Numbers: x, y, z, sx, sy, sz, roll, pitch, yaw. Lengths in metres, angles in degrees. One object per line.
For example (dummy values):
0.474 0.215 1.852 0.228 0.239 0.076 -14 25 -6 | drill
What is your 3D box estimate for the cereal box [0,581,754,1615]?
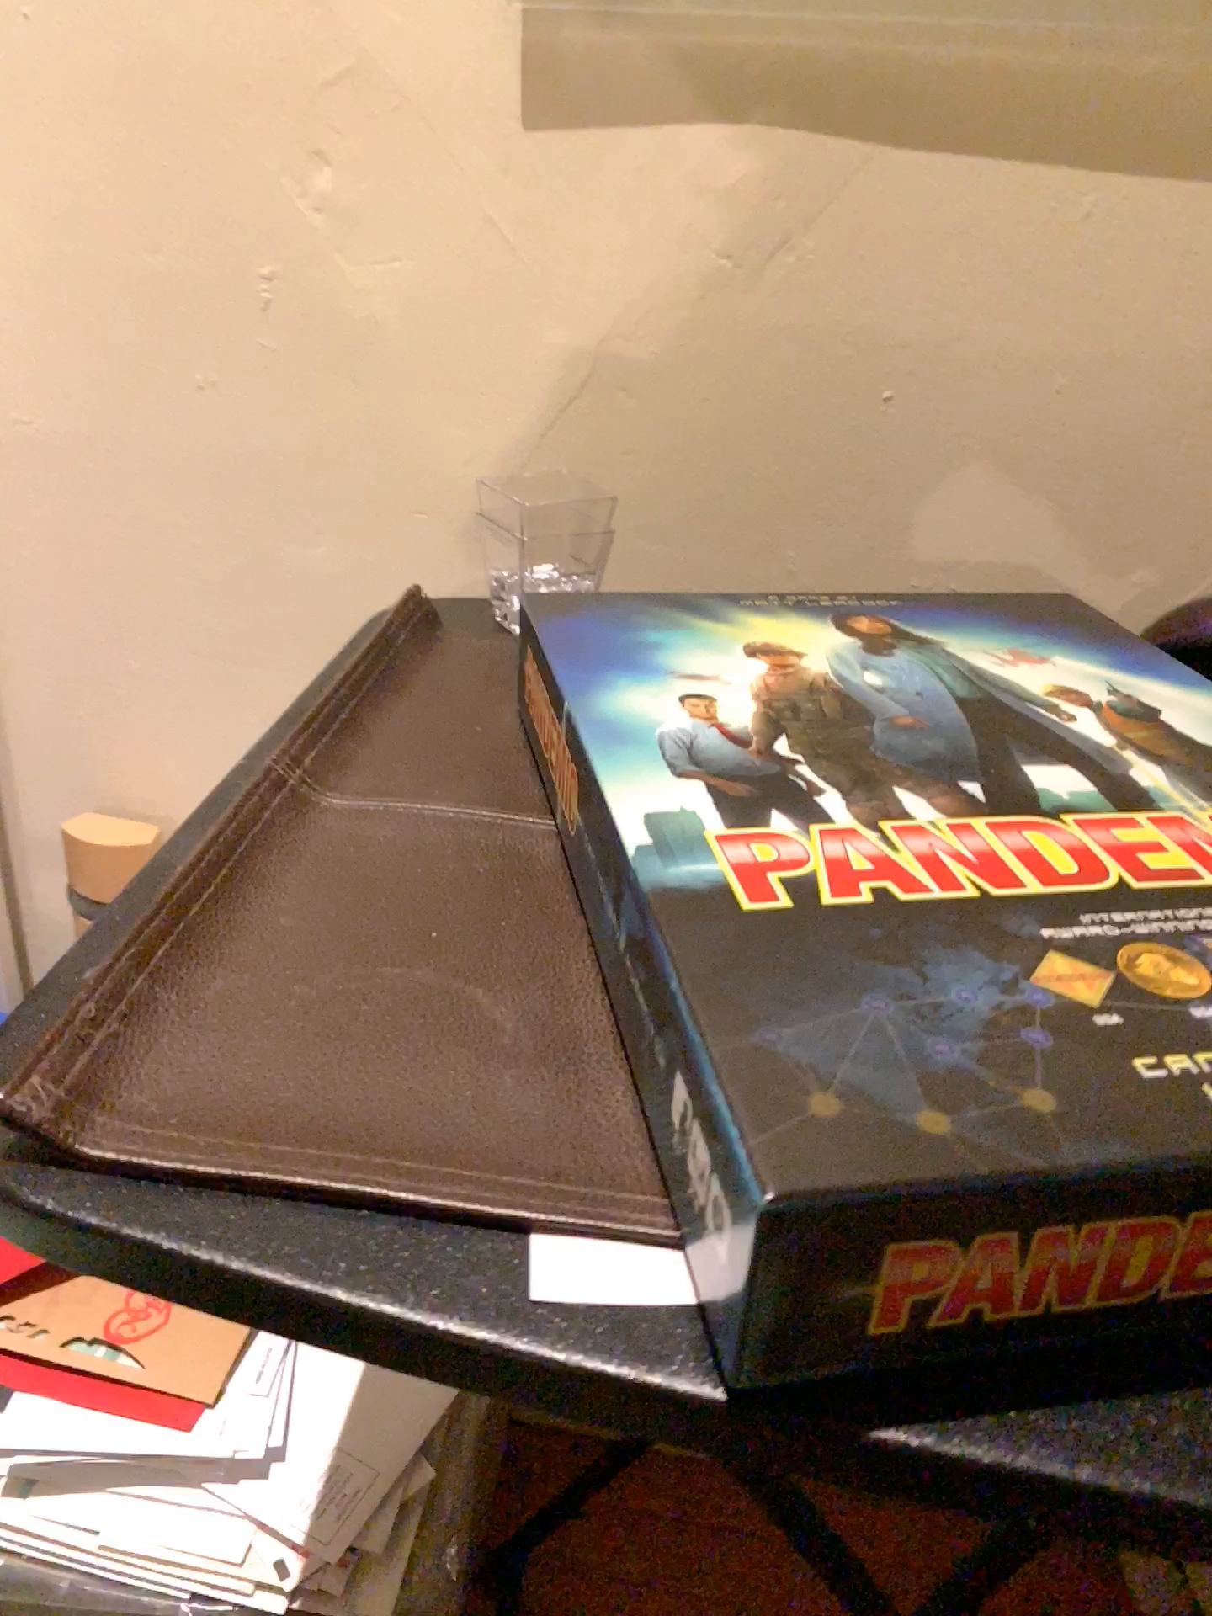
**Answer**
-0.258 0.380 1.150 0.471 0.994 0.512 -20 35 -37 | cereal box
